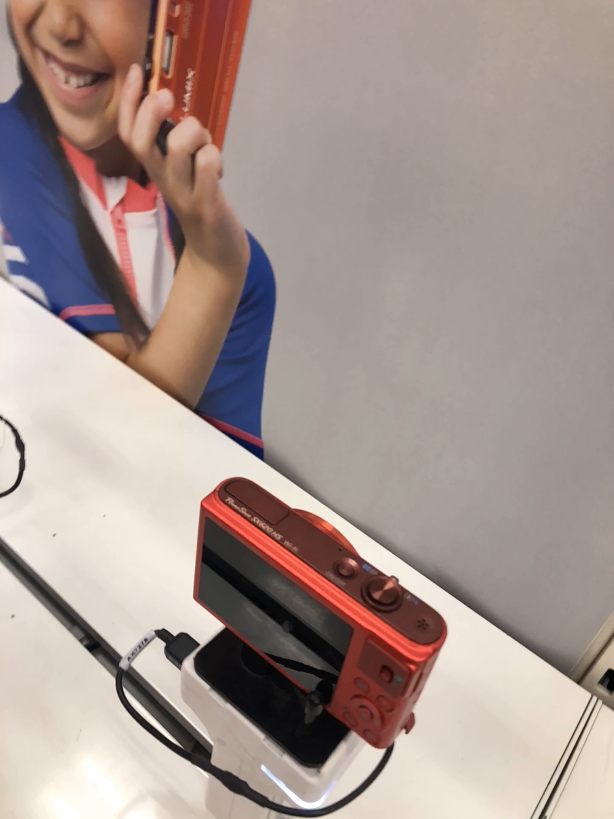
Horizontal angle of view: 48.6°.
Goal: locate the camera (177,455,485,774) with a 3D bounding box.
[{"bbox_3d":[0.002,0.074,0.256,0.110,0.060,0.030,31,41,24],"label":"camera"}]
